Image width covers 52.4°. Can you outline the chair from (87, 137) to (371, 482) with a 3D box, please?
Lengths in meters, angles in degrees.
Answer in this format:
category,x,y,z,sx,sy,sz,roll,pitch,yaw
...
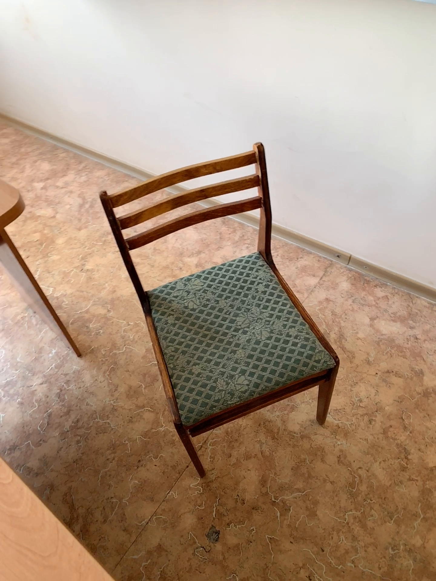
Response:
category,x,y,z,sx,sy,sz,roll,pitch,yaw
chair,0.022,0.092,1.090,0.401,0.705,0.404,-20,52,-10
